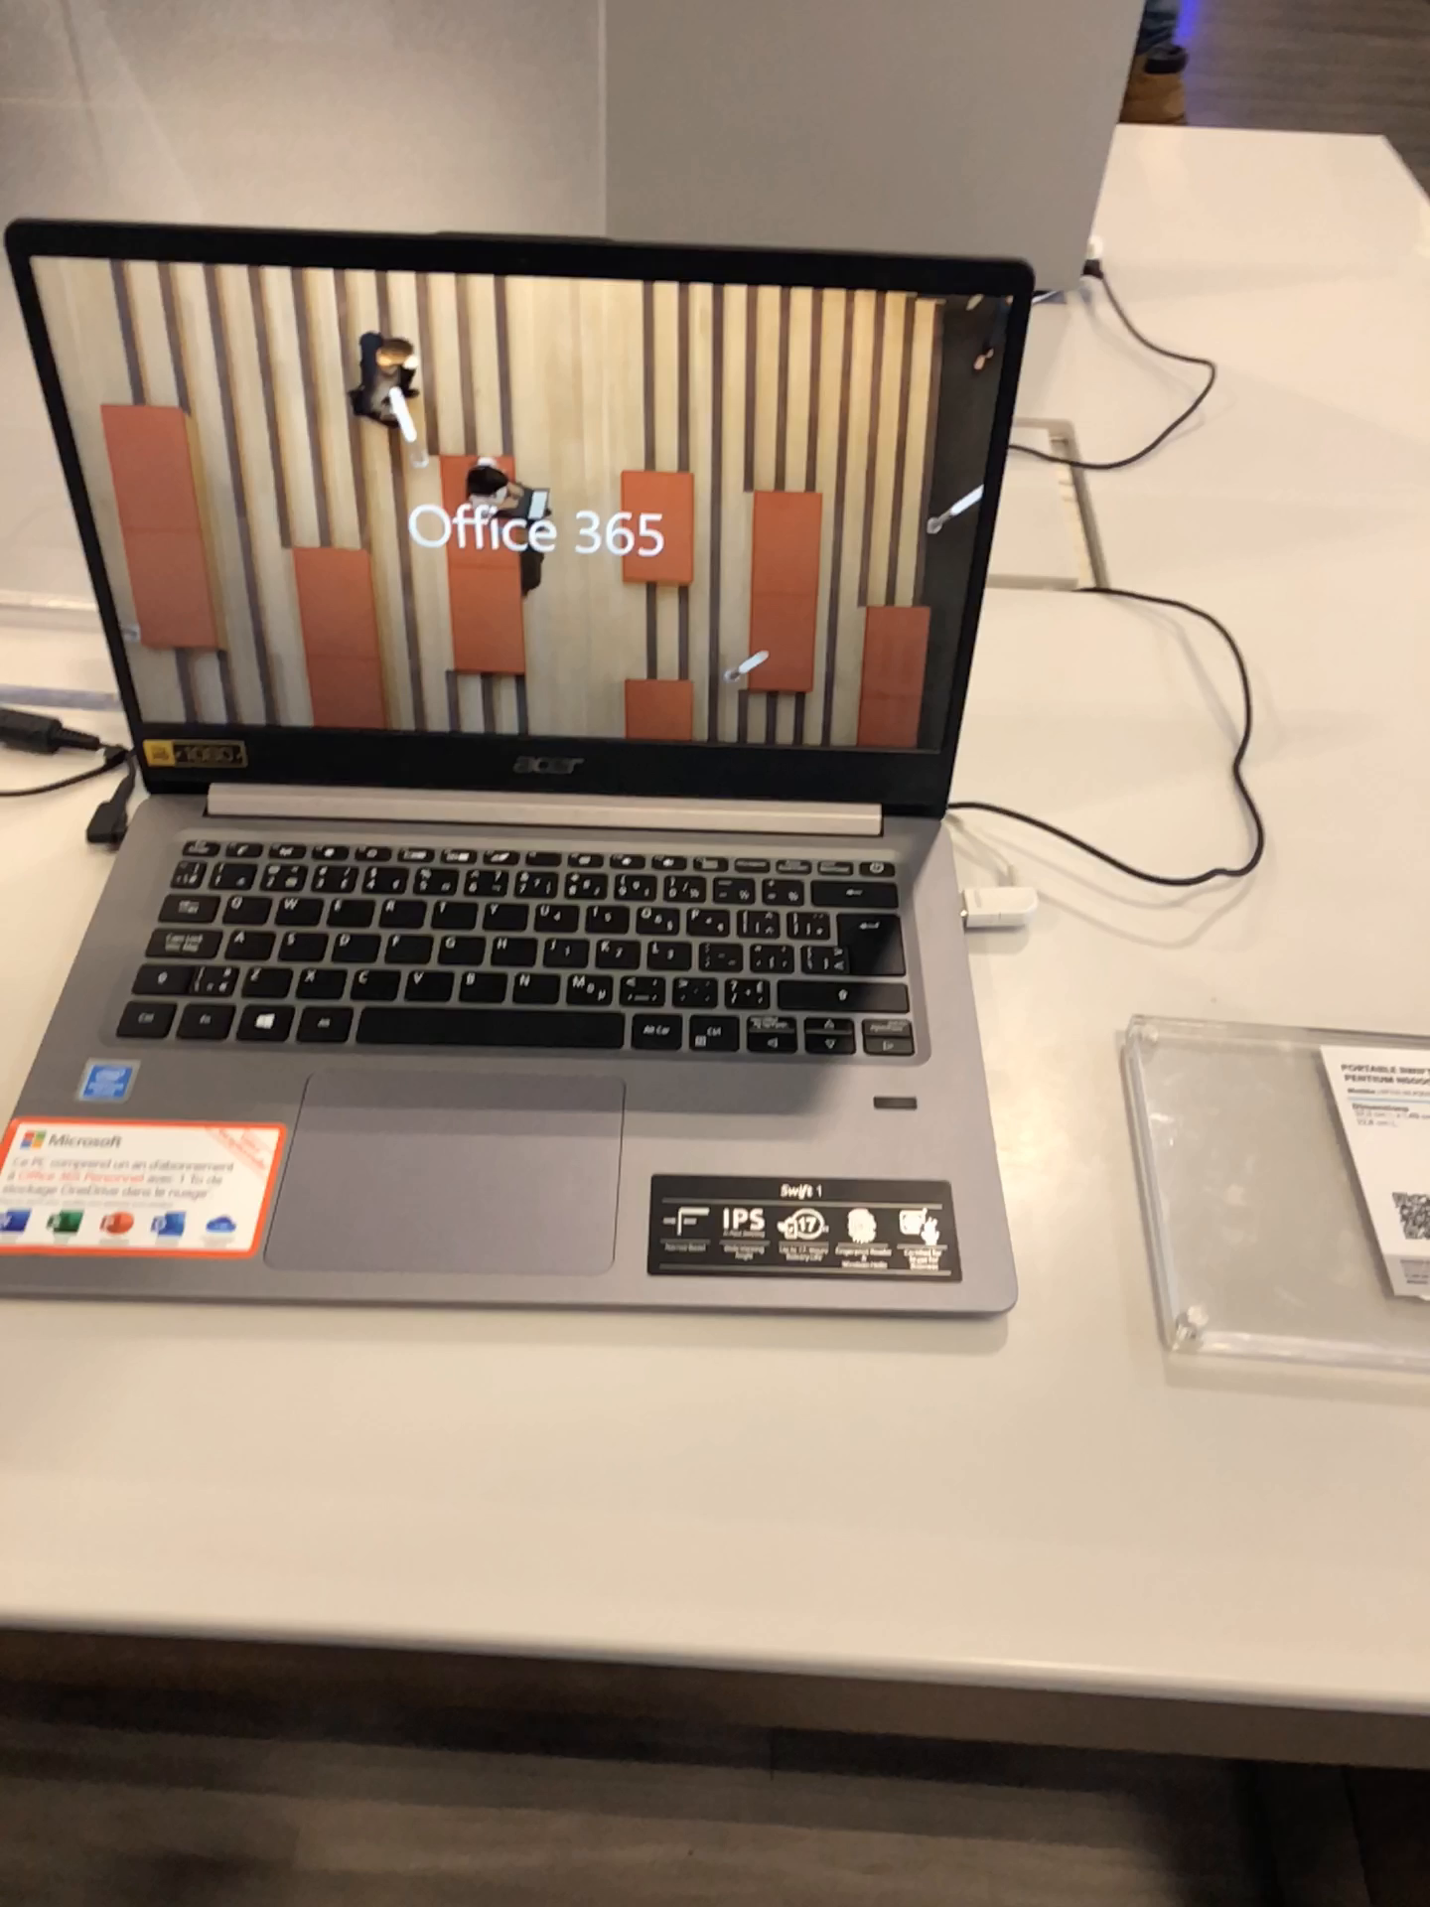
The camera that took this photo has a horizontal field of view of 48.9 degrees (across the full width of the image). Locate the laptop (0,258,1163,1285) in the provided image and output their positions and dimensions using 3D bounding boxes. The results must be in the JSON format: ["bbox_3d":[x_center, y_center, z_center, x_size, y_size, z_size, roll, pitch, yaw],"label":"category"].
[{"bbox_3d":[-0.059,-0.055,0.478,0.306,0.205,0.225,2,46,-2],"label":"laptop"}]
